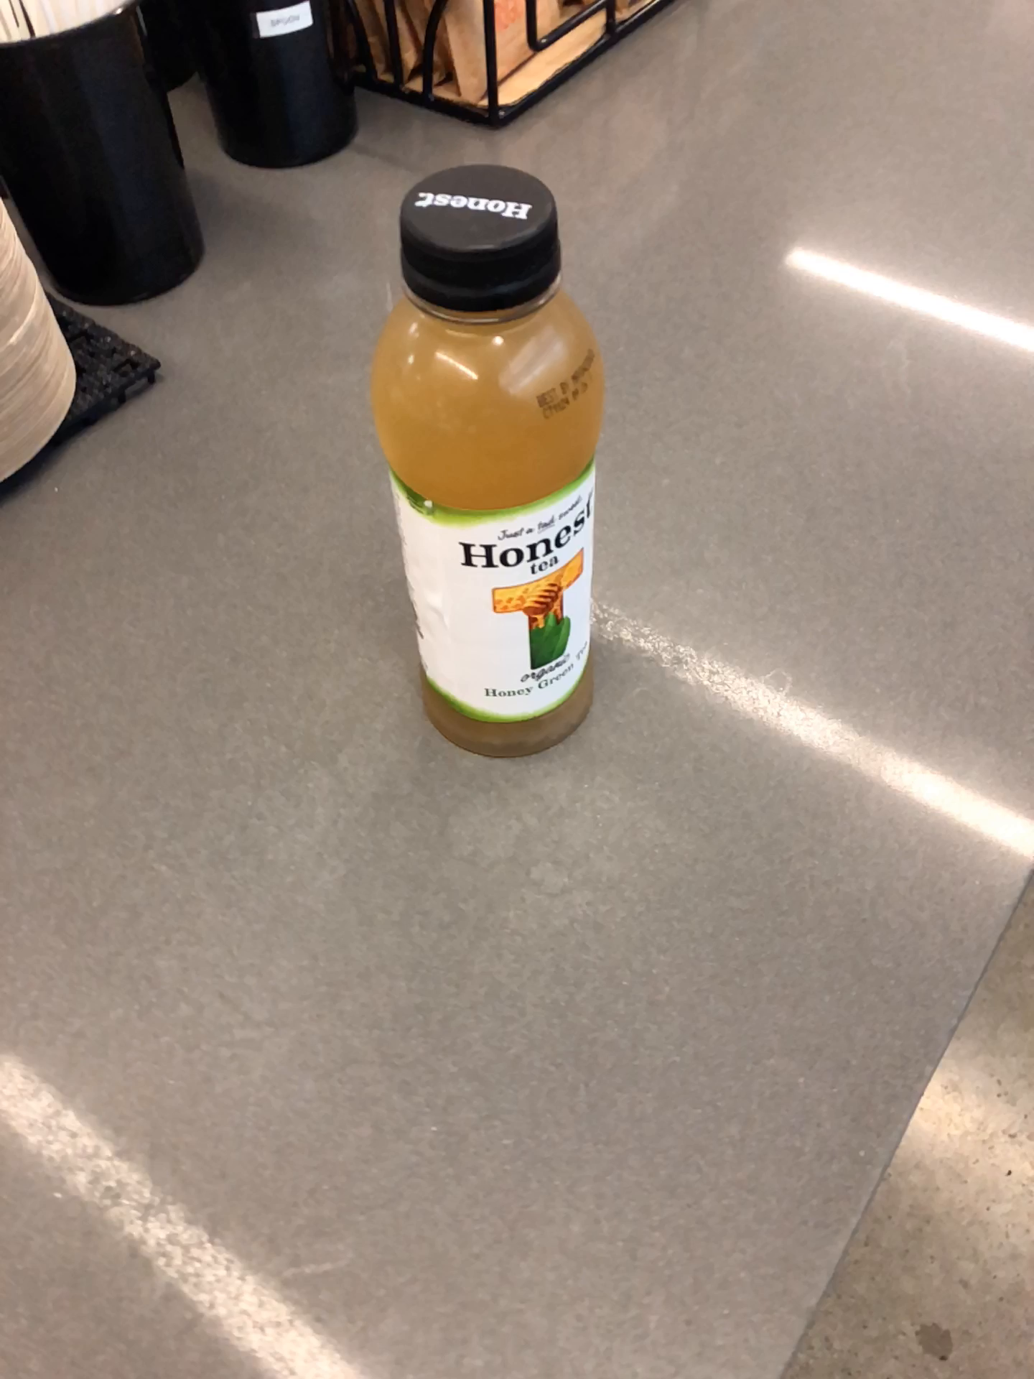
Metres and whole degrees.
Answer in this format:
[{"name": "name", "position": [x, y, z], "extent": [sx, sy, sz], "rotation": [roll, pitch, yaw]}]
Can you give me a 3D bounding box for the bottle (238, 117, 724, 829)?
[{"name": "bottle", "position": [-0.007, -0.058, 0.369], "extent": [0.090, 0.189, 0.090], "rotation": [-2, 53, 2]}]
